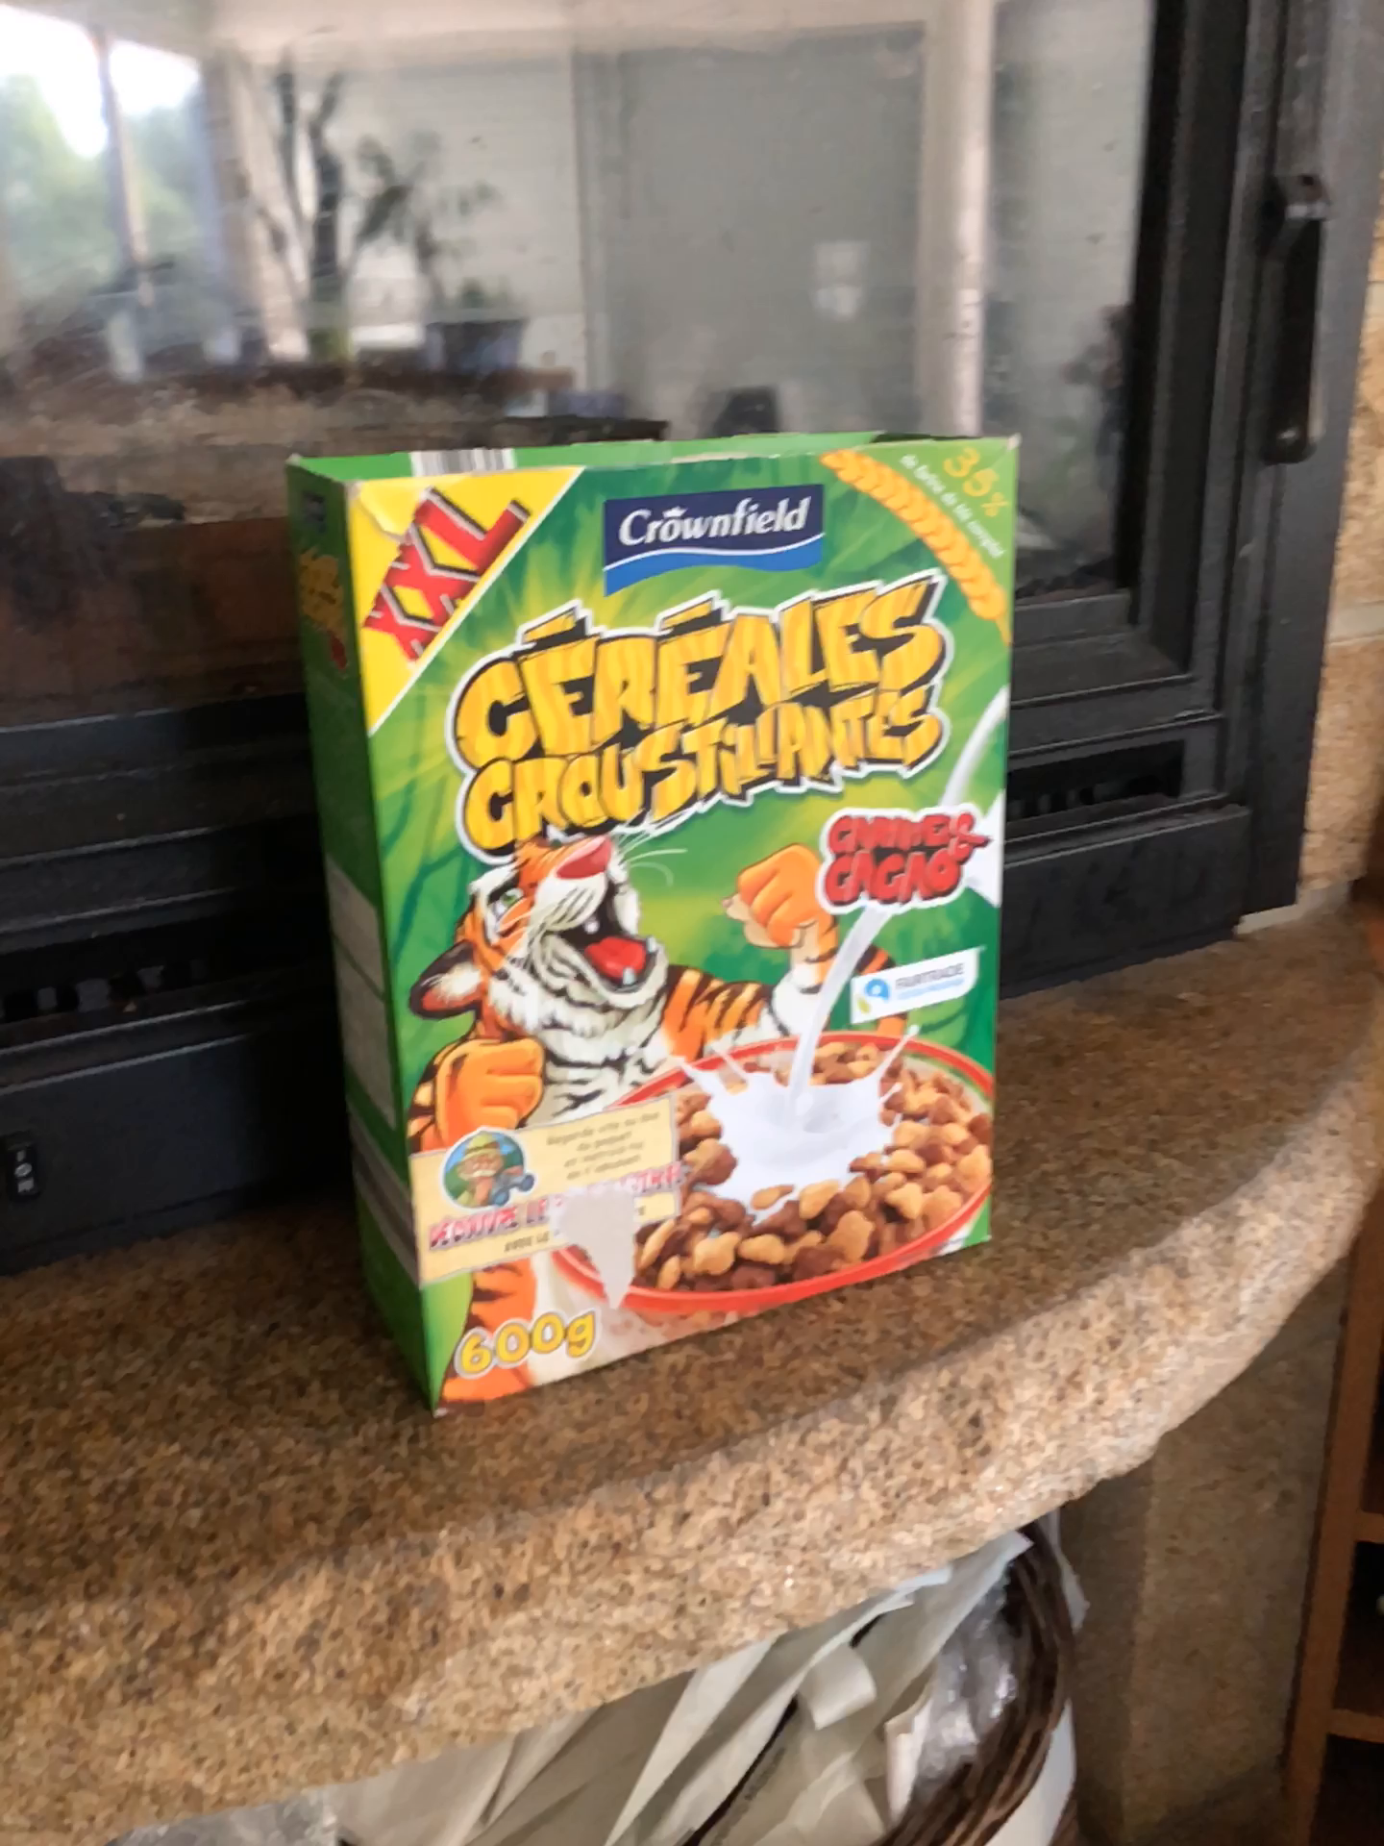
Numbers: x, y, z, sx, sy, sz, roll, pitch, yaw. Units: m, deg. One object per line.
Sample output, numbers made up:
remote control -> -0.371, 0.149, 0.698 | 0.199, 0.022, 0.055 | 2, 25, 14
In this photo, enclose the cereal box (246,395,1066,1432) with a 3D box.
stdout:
cereal box -> -0.005, -0.016, 0.449 | 0.201, 0.259, 0.090 | -12, 22, -26
